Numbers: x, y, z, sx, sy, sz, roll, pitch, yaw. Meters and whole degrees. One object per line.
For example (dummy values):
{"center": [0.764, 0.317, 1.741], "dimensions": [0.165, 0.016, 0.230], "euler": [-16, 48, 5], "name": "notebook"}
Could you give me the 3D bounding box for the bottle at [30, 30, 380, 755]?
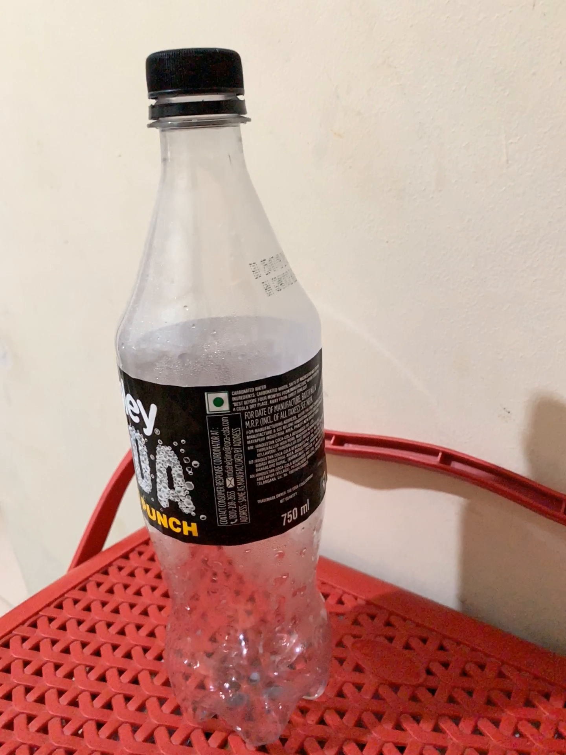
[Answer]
{"center": [-0.020, 0.017, 0.207], "dimensions": [0.070, 0.228, 0.081], "euler": [-15, 26, -21], "name": "bottle"}
